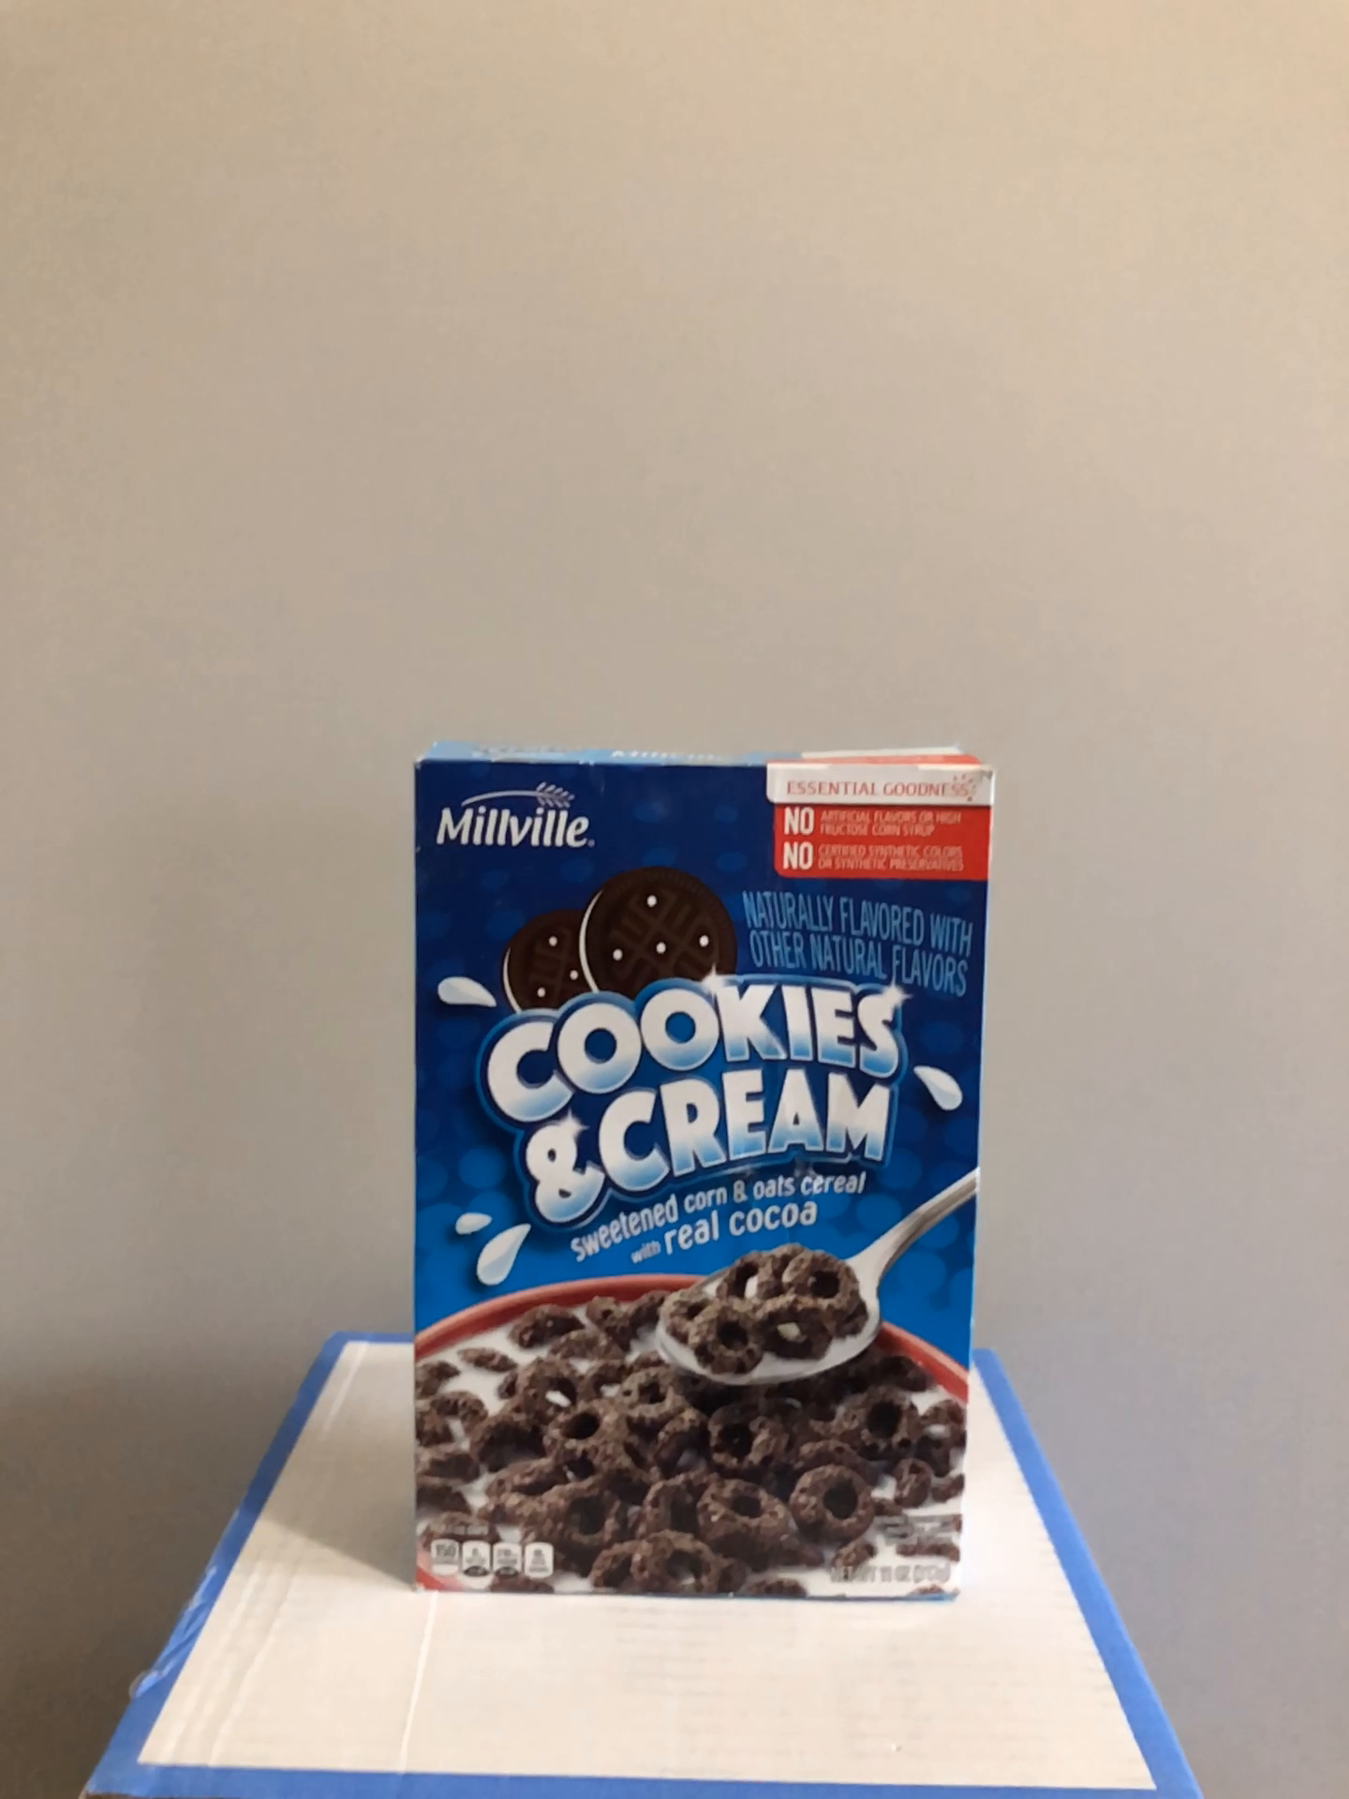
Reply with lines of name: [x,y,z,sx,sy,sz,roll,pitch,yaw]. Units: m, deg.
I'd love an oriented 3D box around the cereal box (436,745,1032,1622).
cereal box: [0.017,0.101,0.556,0.200,0.310,0.070,1,6,-1]
